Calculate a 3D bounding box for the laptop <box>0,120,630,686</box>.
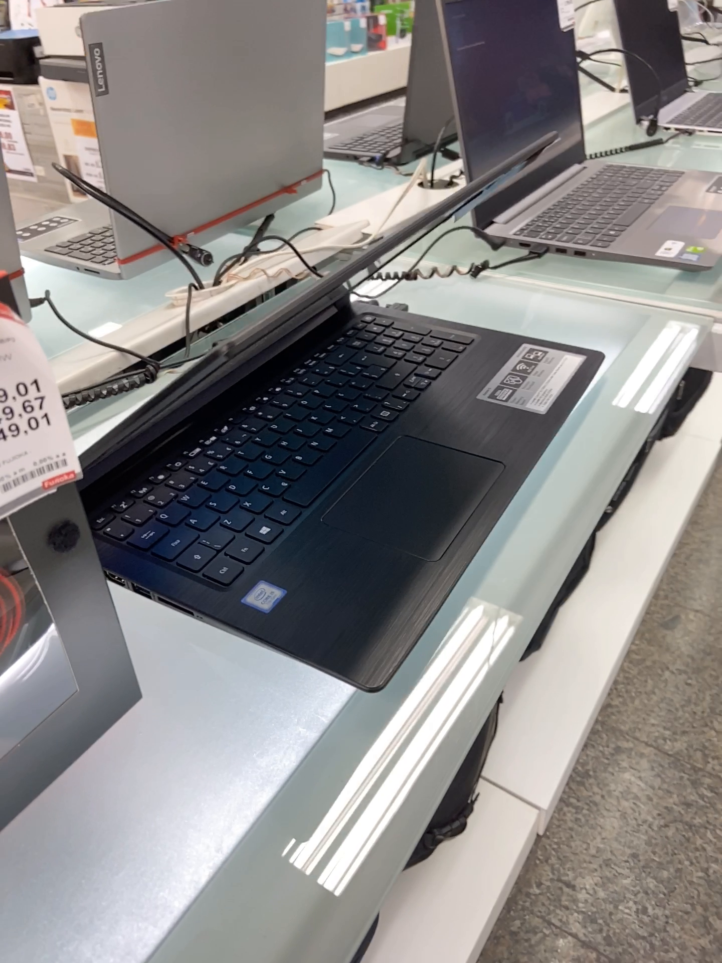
[{"bbox_3d":[-0.008,-0.101,0.477,0.239,0.157,0.372,18,41,25],"label":"laptop"}]
